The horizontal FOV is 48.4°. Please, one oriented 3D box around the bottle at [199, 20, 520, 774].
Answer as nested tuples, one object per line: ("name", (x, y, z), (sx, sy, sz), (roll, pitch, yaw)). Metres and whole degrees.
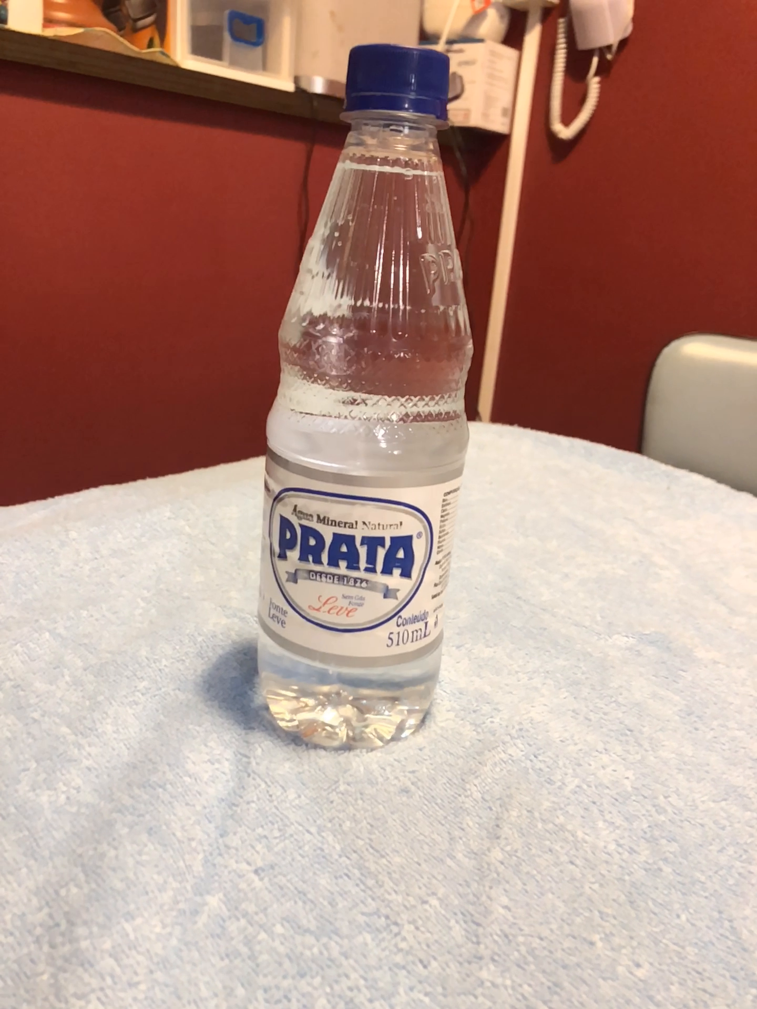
("bottle", (-0.008, -0.030, 0.284), (0.080, 0.219, 0.070), (7, 19, 7))
